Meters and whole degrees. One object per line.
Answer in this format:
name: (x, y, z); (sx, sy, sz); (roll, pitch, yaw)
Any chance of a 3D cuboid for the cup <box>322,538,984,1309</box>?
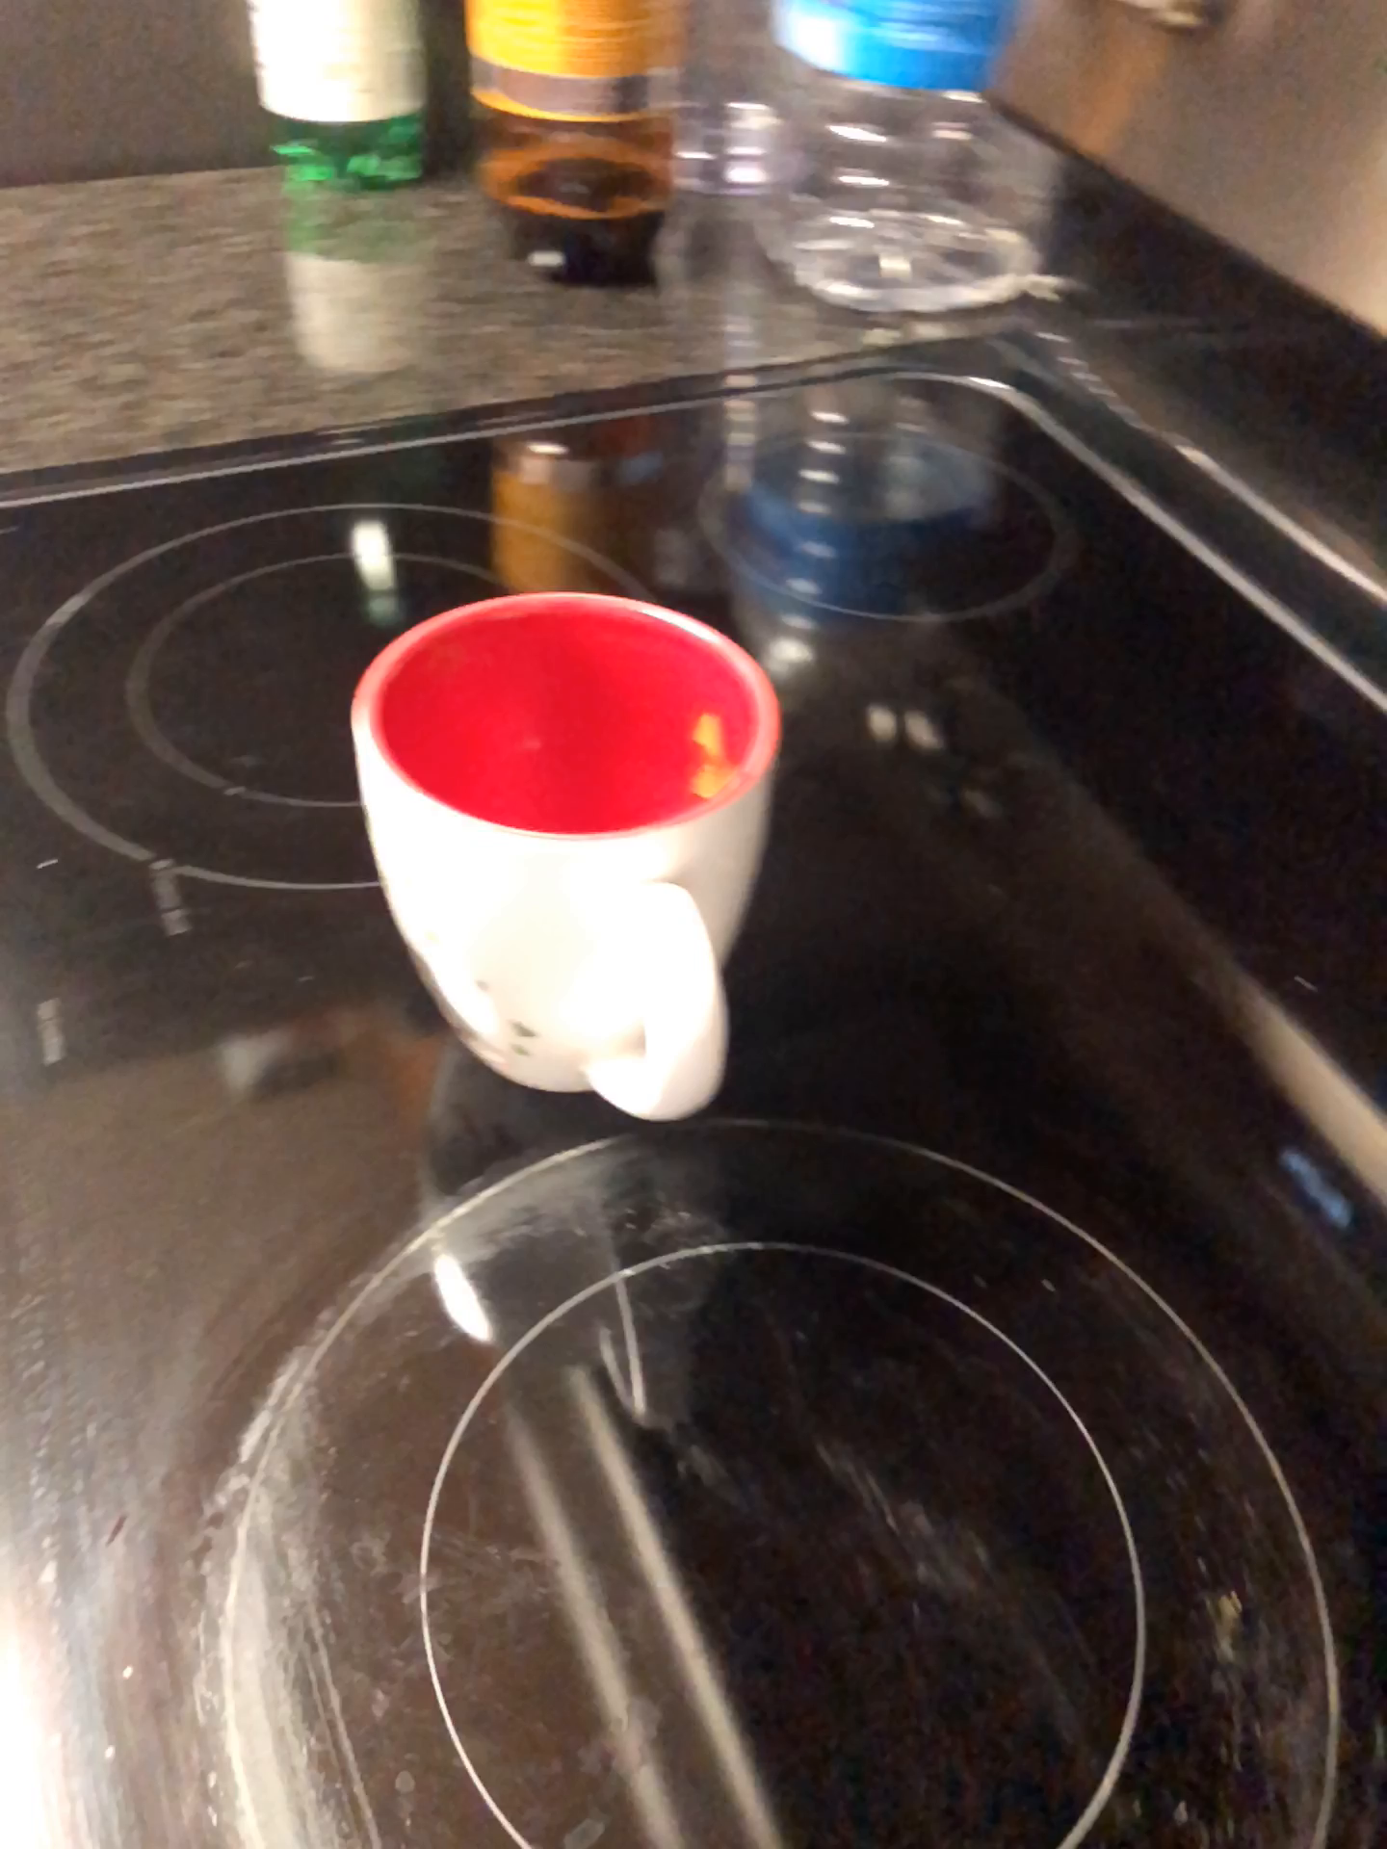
cup: (-0.018, -0.007, 0.375); (0.100, 0.100, 0.141); (-15, 47, -19)
